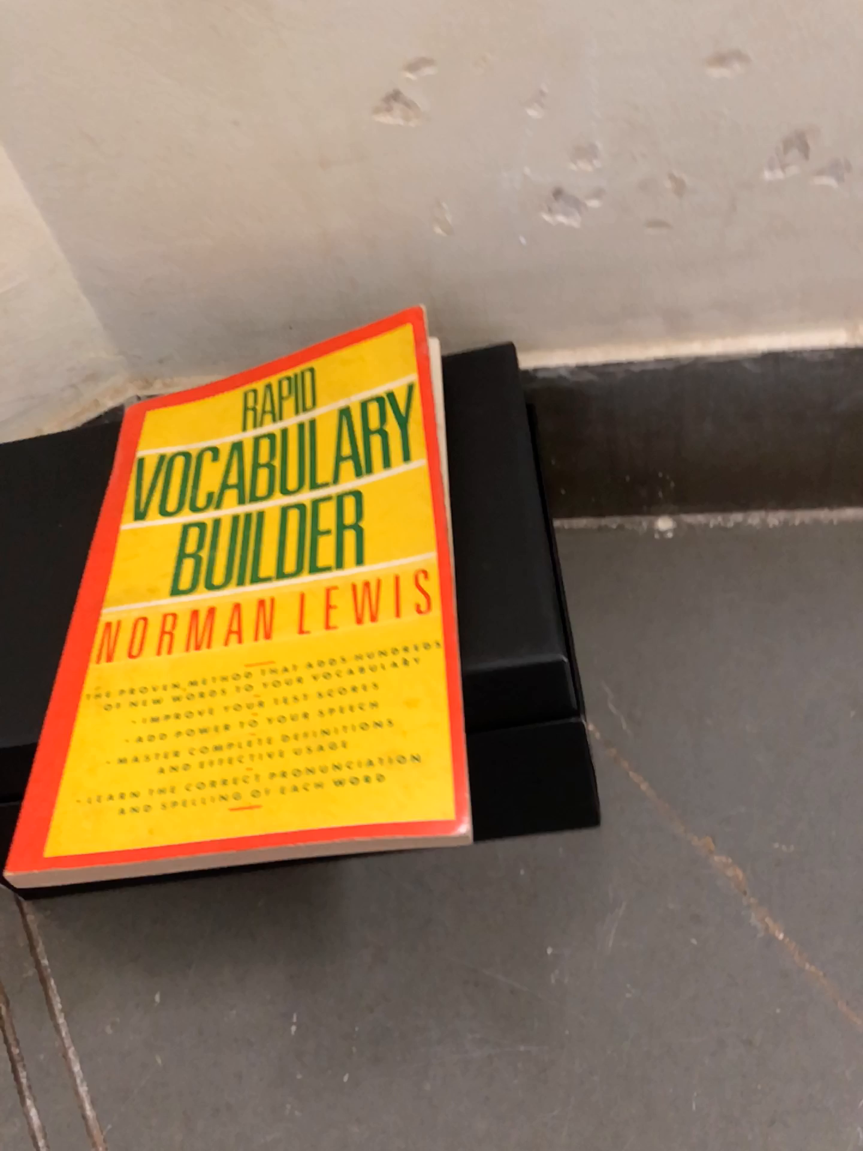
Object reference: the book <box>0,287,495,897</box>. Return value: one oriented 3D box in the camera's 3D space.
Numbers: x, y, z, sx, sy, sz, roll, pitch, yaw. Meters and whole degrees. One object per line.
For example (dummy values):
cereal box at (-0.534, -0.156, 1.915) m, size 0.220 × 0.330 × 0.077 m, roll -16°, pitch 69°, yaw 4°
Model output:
book at (-0.055, -0.011, 0.340) m, size 0.140 × 0.030 × 0.231 m, roll -8°, pitch 49°, yaw 8°
